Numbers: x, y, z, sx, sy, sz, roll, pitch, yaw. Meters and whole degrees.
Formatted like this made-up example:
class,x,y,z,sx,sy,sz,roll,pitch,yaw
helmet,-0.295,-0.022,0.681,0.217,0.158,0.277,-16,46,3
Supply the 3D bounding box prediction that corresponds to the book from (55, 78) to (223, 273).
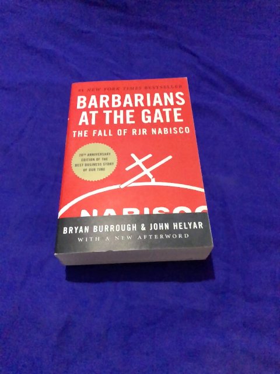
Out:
class,x,y,z,sx,sy,sz,roll,pitch,yaw
book,-0.004,-0.022,0.334,0.140,0.050,0.211,-1,60,-1
